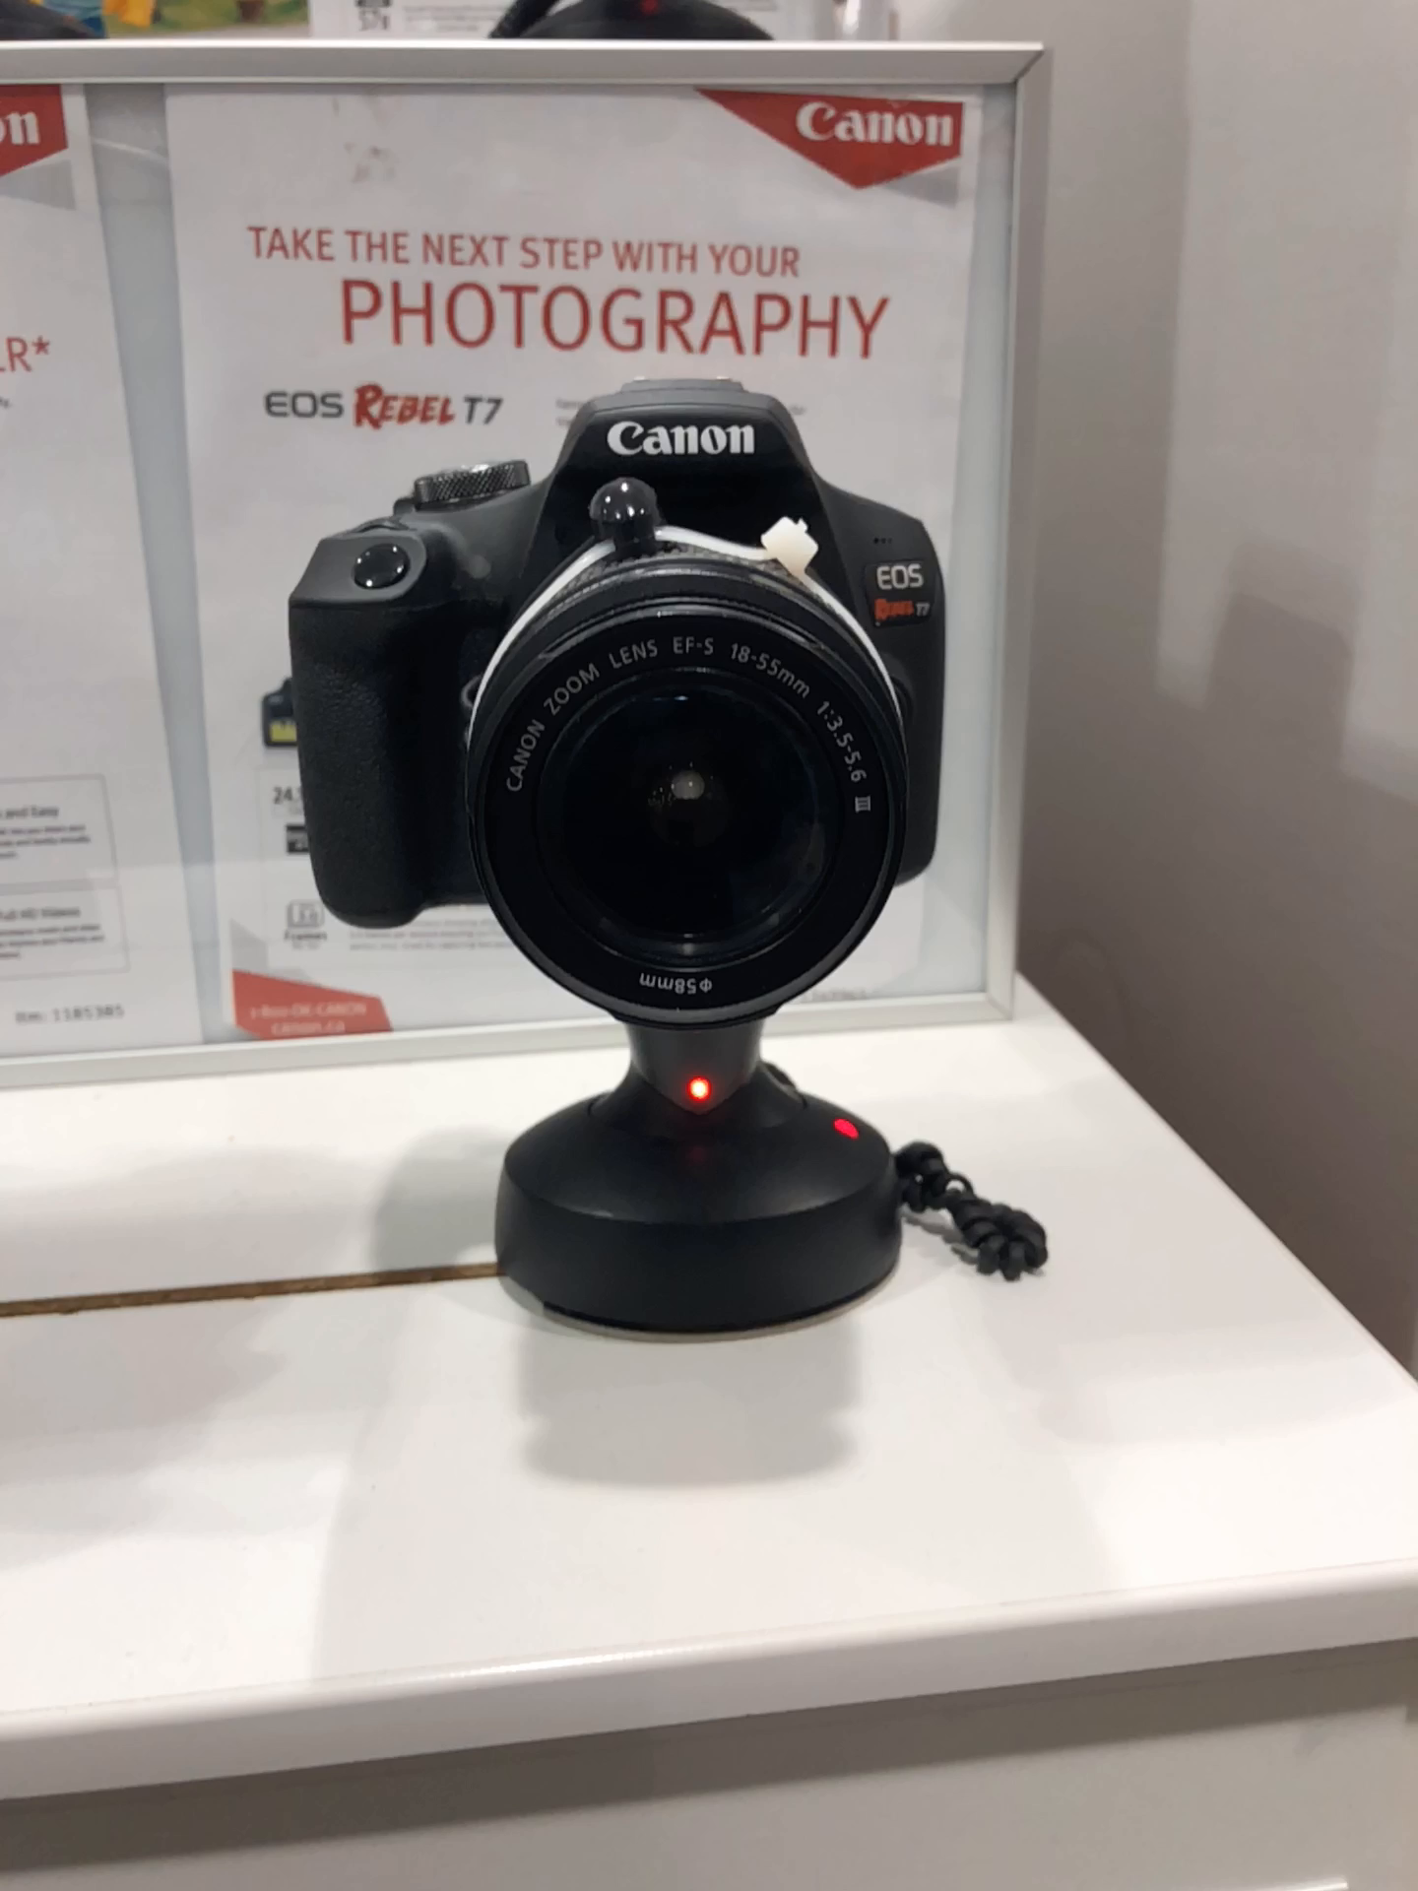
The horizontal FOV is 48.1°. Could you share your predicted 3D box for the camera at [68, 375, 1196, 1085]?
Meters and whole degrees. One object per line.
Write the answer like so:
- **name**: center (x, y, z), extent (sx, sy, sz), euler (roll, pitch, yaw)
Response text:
- **camera**: center (-0.011, -0.049, 0.282), extent (0.140, 0.090, 0.151), euler (-2, 17, -2)
